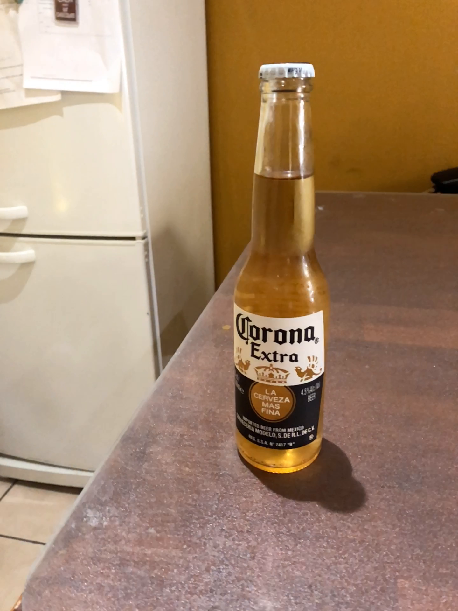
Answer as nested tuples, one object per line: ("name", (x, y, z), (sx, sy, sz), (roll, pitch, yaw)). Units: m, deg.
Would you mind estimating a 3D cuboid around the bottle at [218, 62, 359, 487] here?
("bottle", (0.035, -0.012, 0.302), (0.060, 0.238, 0.060), (-1, 24, 1))
